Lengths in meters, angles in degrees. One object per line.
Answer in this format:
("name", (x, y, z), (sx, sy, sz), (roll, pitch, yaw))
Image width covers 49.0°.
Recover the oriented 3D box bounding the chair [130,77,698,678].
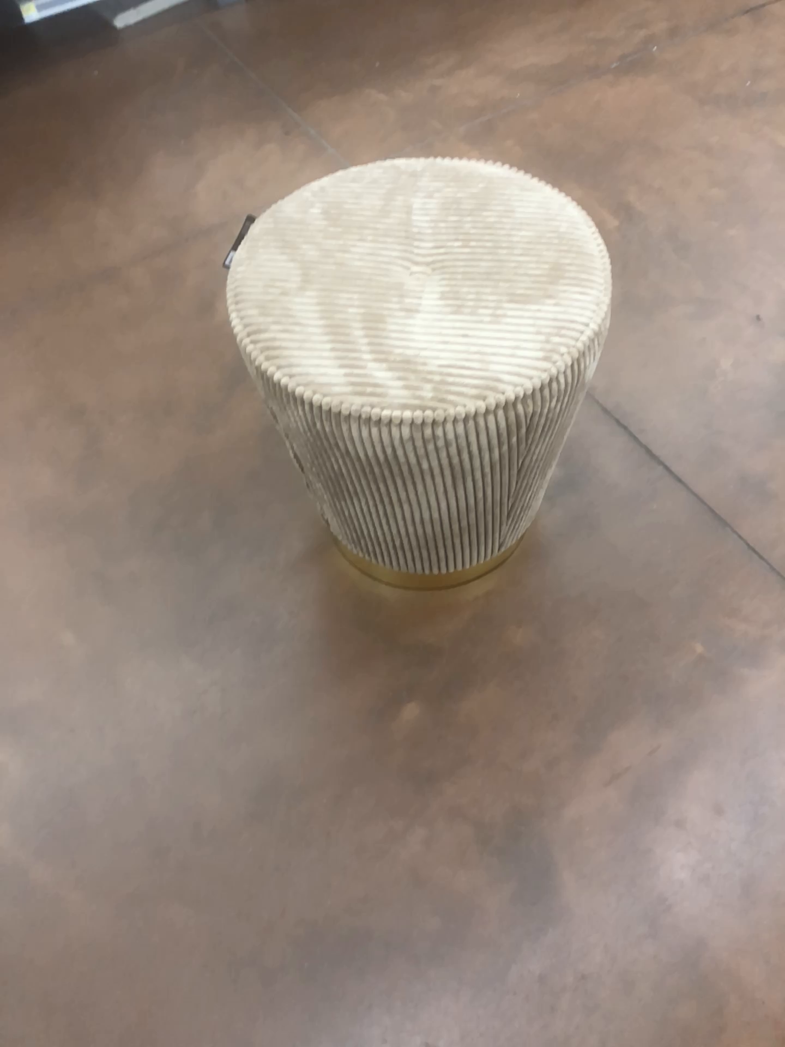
("chair", (0.034, -0.185, 1.126), (0.421, 0.479, 0.450), (38, 65, 25))
